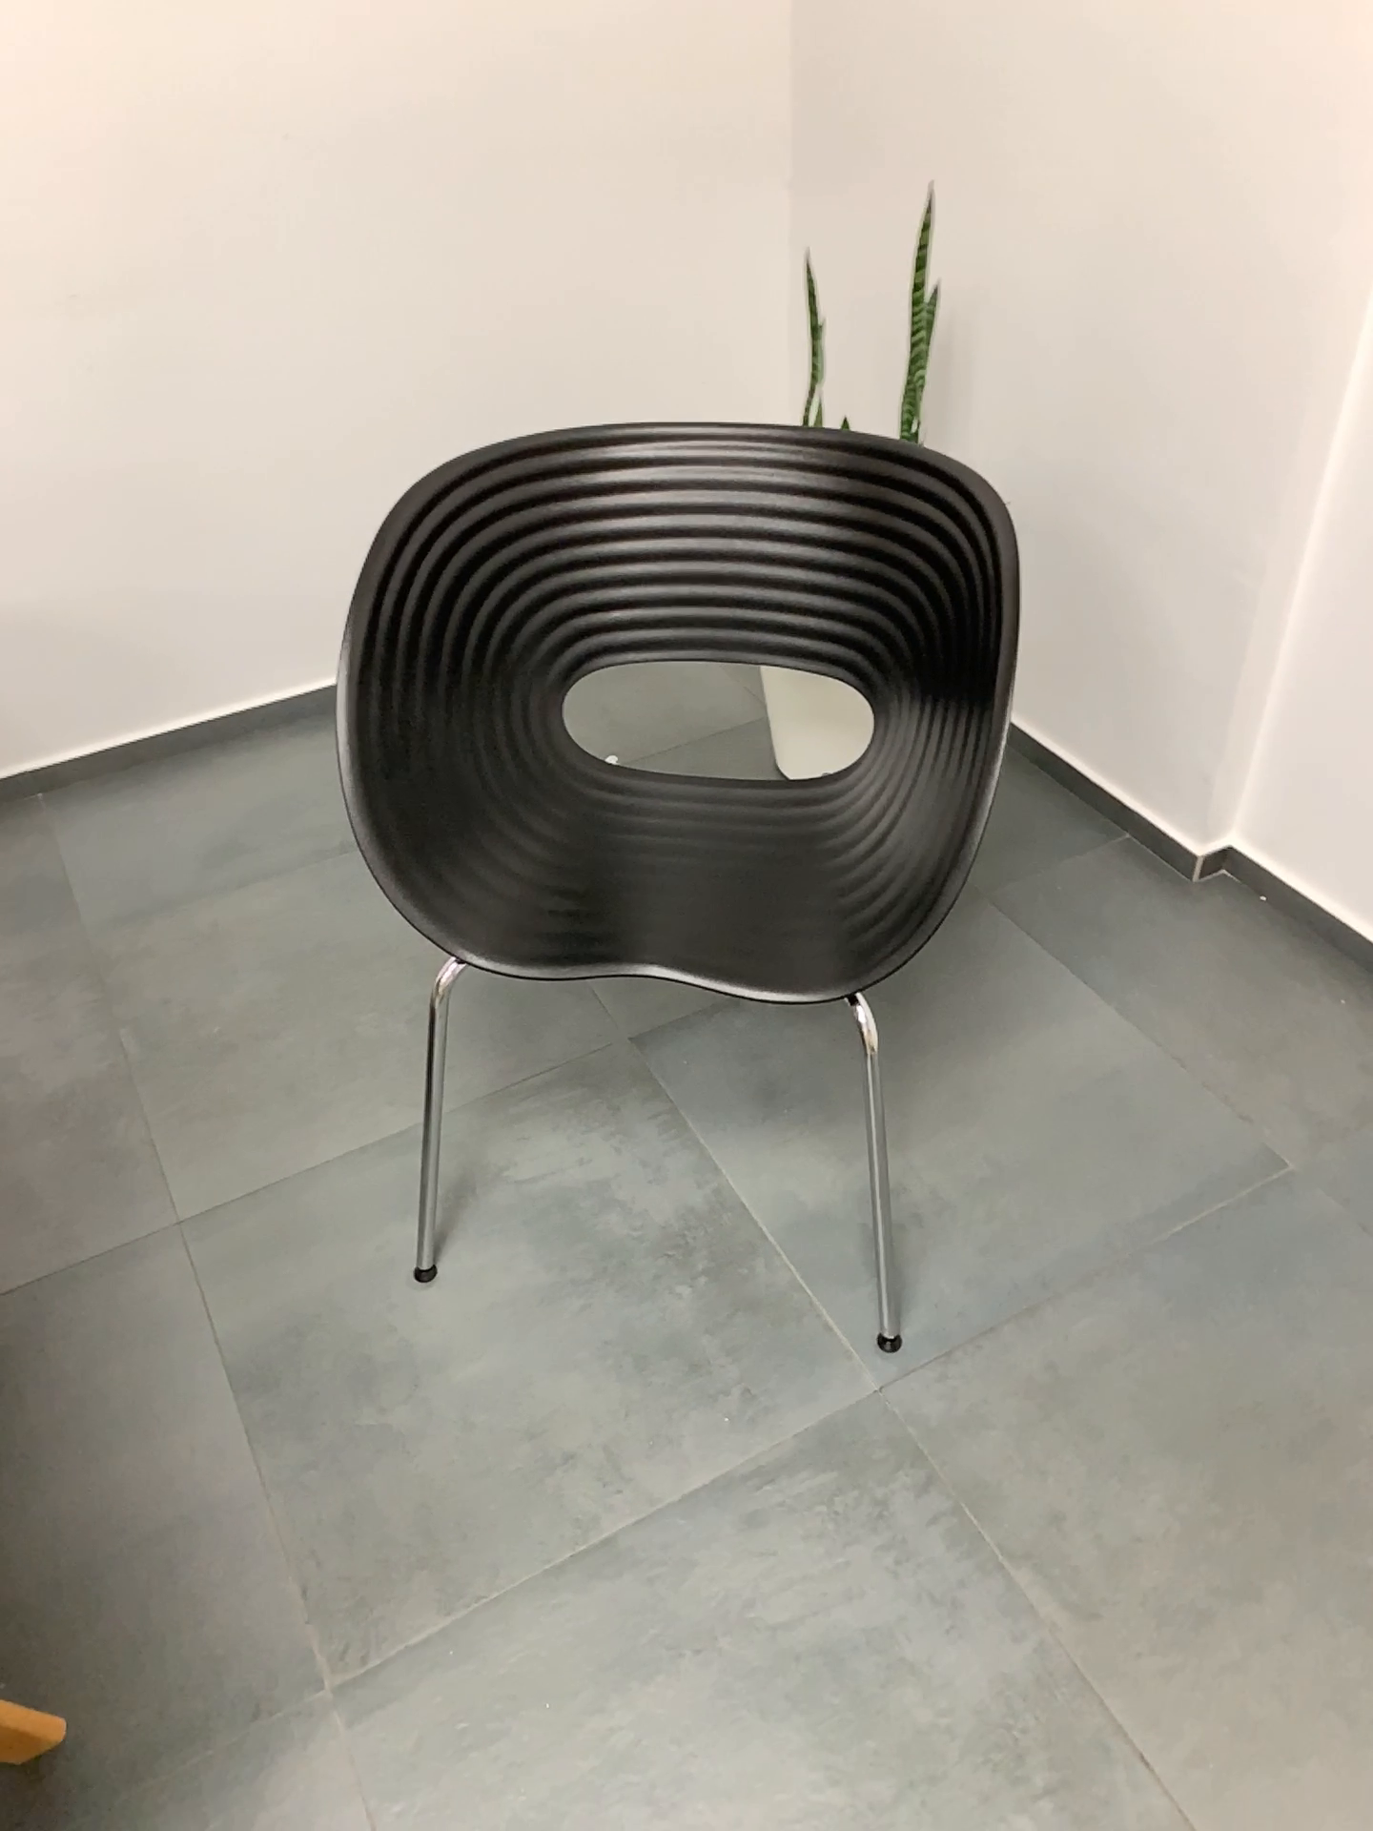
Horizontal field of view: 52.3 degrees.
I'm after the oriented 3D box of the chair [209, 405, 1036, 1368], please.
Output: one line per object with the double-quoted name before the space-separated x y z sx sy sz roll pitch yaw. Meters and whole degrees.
"chair" 0.008 -0.047 1.569 0.650 0.796 0.643 6 41 10
